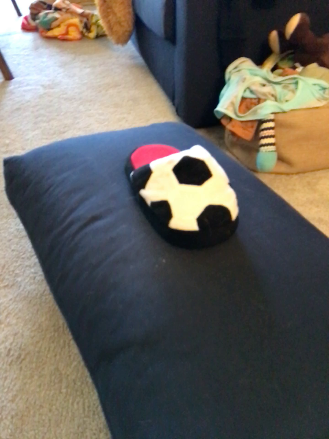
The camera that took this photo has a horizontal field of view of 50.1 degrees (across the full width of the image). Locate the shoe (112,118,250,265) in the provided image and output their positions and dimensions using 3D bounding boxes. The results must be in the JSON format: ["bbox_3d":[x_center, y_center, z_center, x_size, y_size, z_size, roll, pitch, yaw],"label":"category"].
[{"bbox_3d":[0.011,-0.052,0.491,0.108,0.072,0.214,-15,44,-15],"label":"shoe"}]
